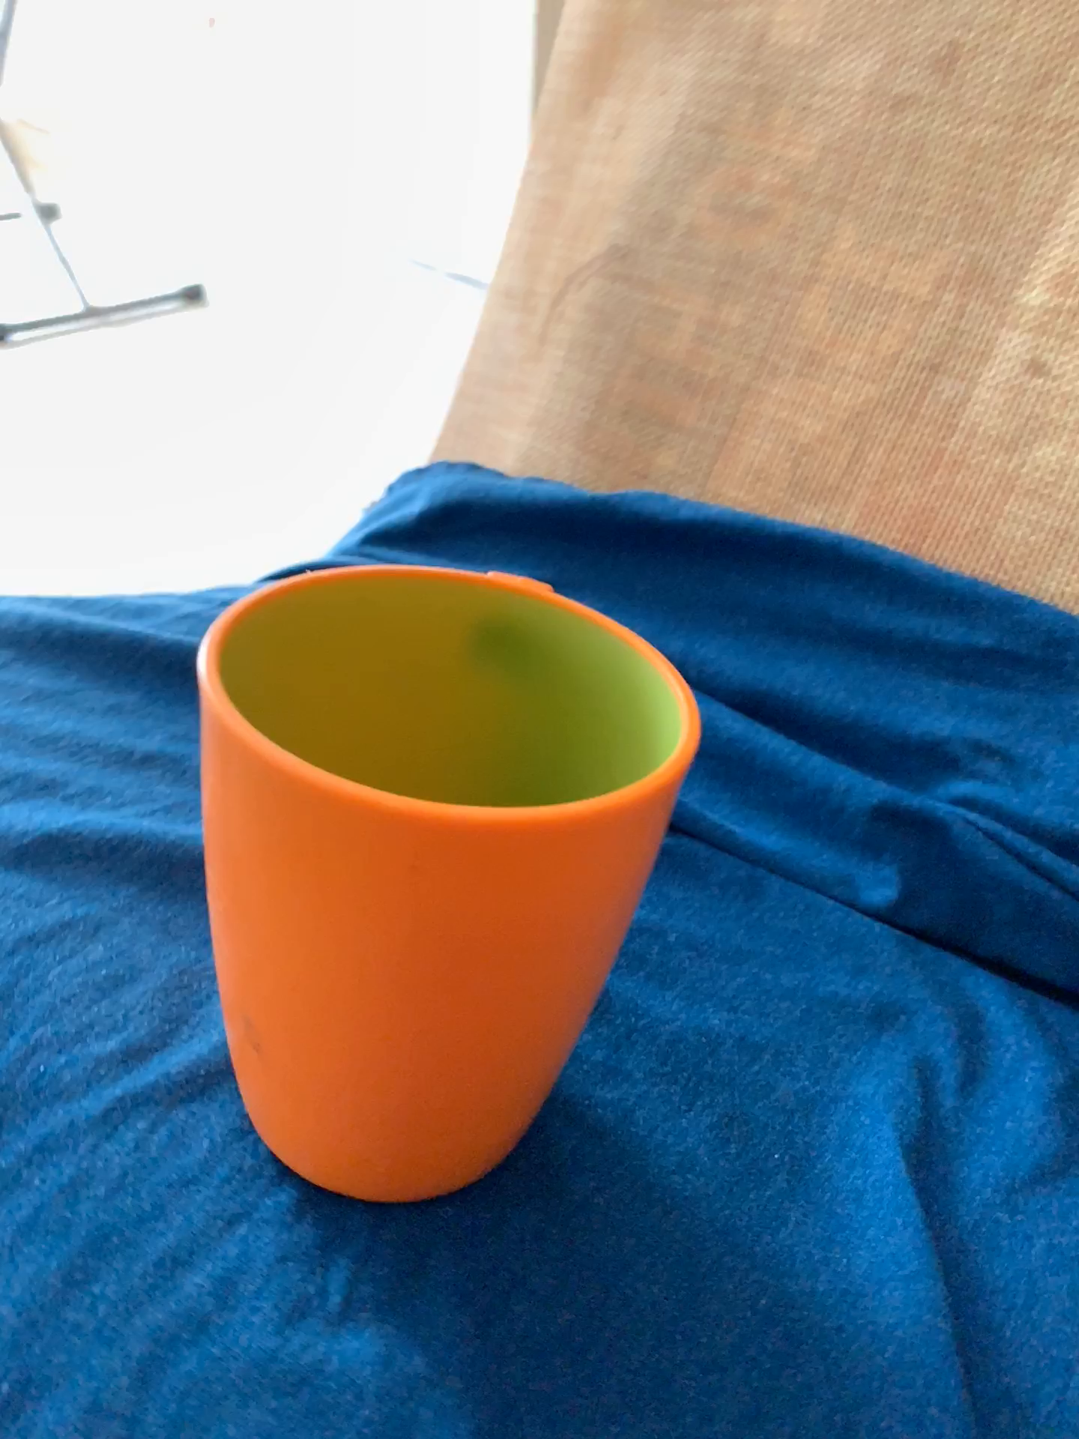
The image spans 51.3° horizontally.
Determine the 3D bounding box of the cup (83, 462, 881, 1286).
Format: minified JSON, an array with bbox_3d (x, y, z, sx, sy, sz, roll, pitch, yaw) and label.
[{"bbox_3d":[-0.015,0.020,0.220,0.100,0.089,0.121,12,26,-8],"label":"cup"}]
